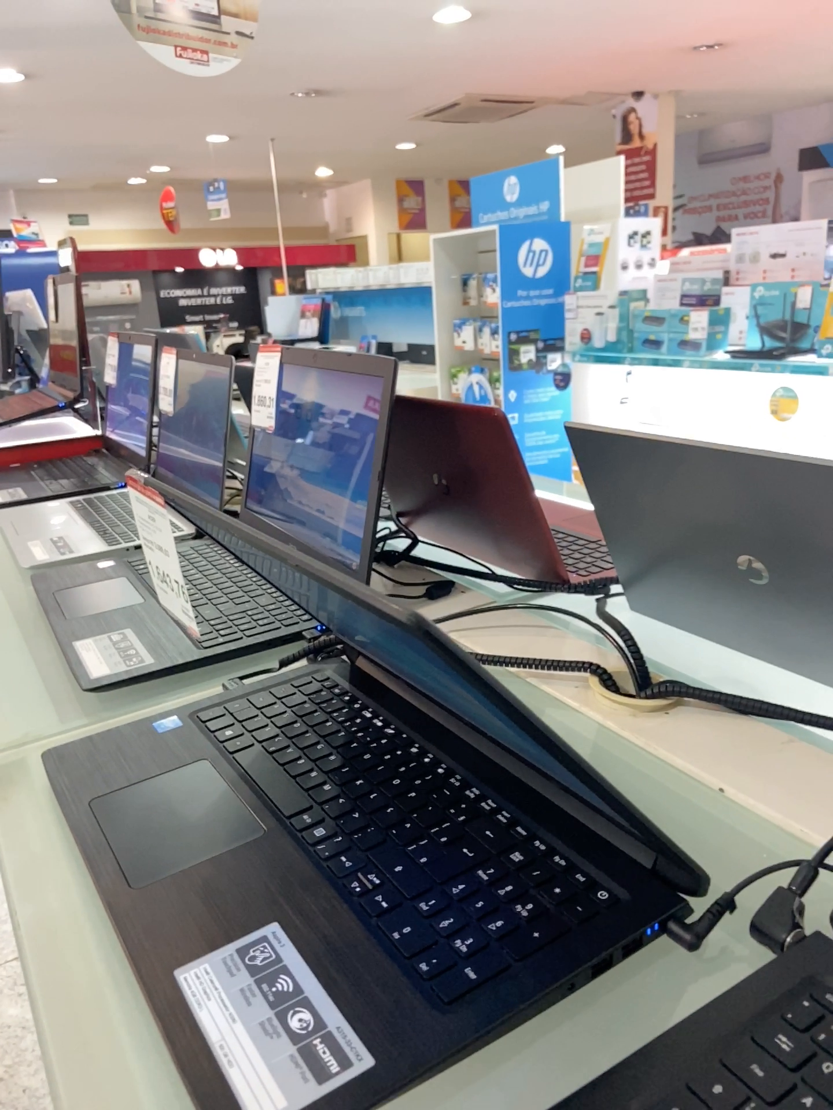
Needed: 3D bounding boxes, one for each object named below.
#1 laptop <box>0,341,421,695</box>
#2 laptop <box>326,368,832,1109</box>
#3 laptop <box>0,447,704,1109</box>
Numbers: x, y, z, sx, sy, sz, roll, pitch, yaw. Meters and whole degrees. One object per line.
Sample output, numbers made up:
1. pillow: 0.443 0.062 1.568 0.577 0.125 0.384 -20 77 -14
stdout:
1. laptop: -0.242 -0.083 0.916 0.326 0.232 0.401 -14 20 -26
2. laptop: 0.203 0.122 0.154 0.284 0.247 0.400 -14 20 -29
3. laptop: -0.069 0.068 0.494 0.239 0.185 0.380 -14 19 -30
